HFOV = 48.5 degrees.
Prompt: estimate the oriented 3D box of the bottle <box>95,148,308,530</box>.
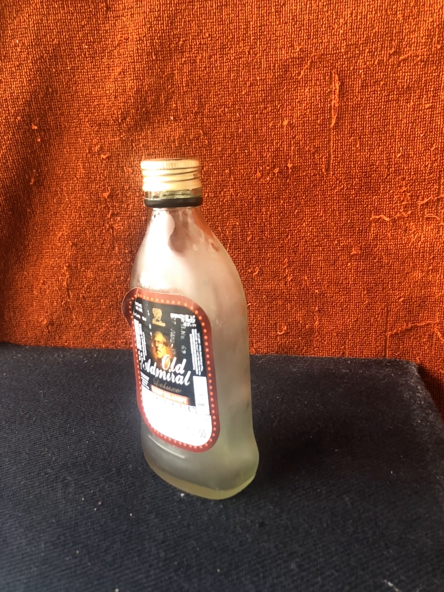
[{"bbox_3d":[-0.008,0.013,0.221,0.070,0.149,0.050,14,23,37],"label":"bottle"}]
